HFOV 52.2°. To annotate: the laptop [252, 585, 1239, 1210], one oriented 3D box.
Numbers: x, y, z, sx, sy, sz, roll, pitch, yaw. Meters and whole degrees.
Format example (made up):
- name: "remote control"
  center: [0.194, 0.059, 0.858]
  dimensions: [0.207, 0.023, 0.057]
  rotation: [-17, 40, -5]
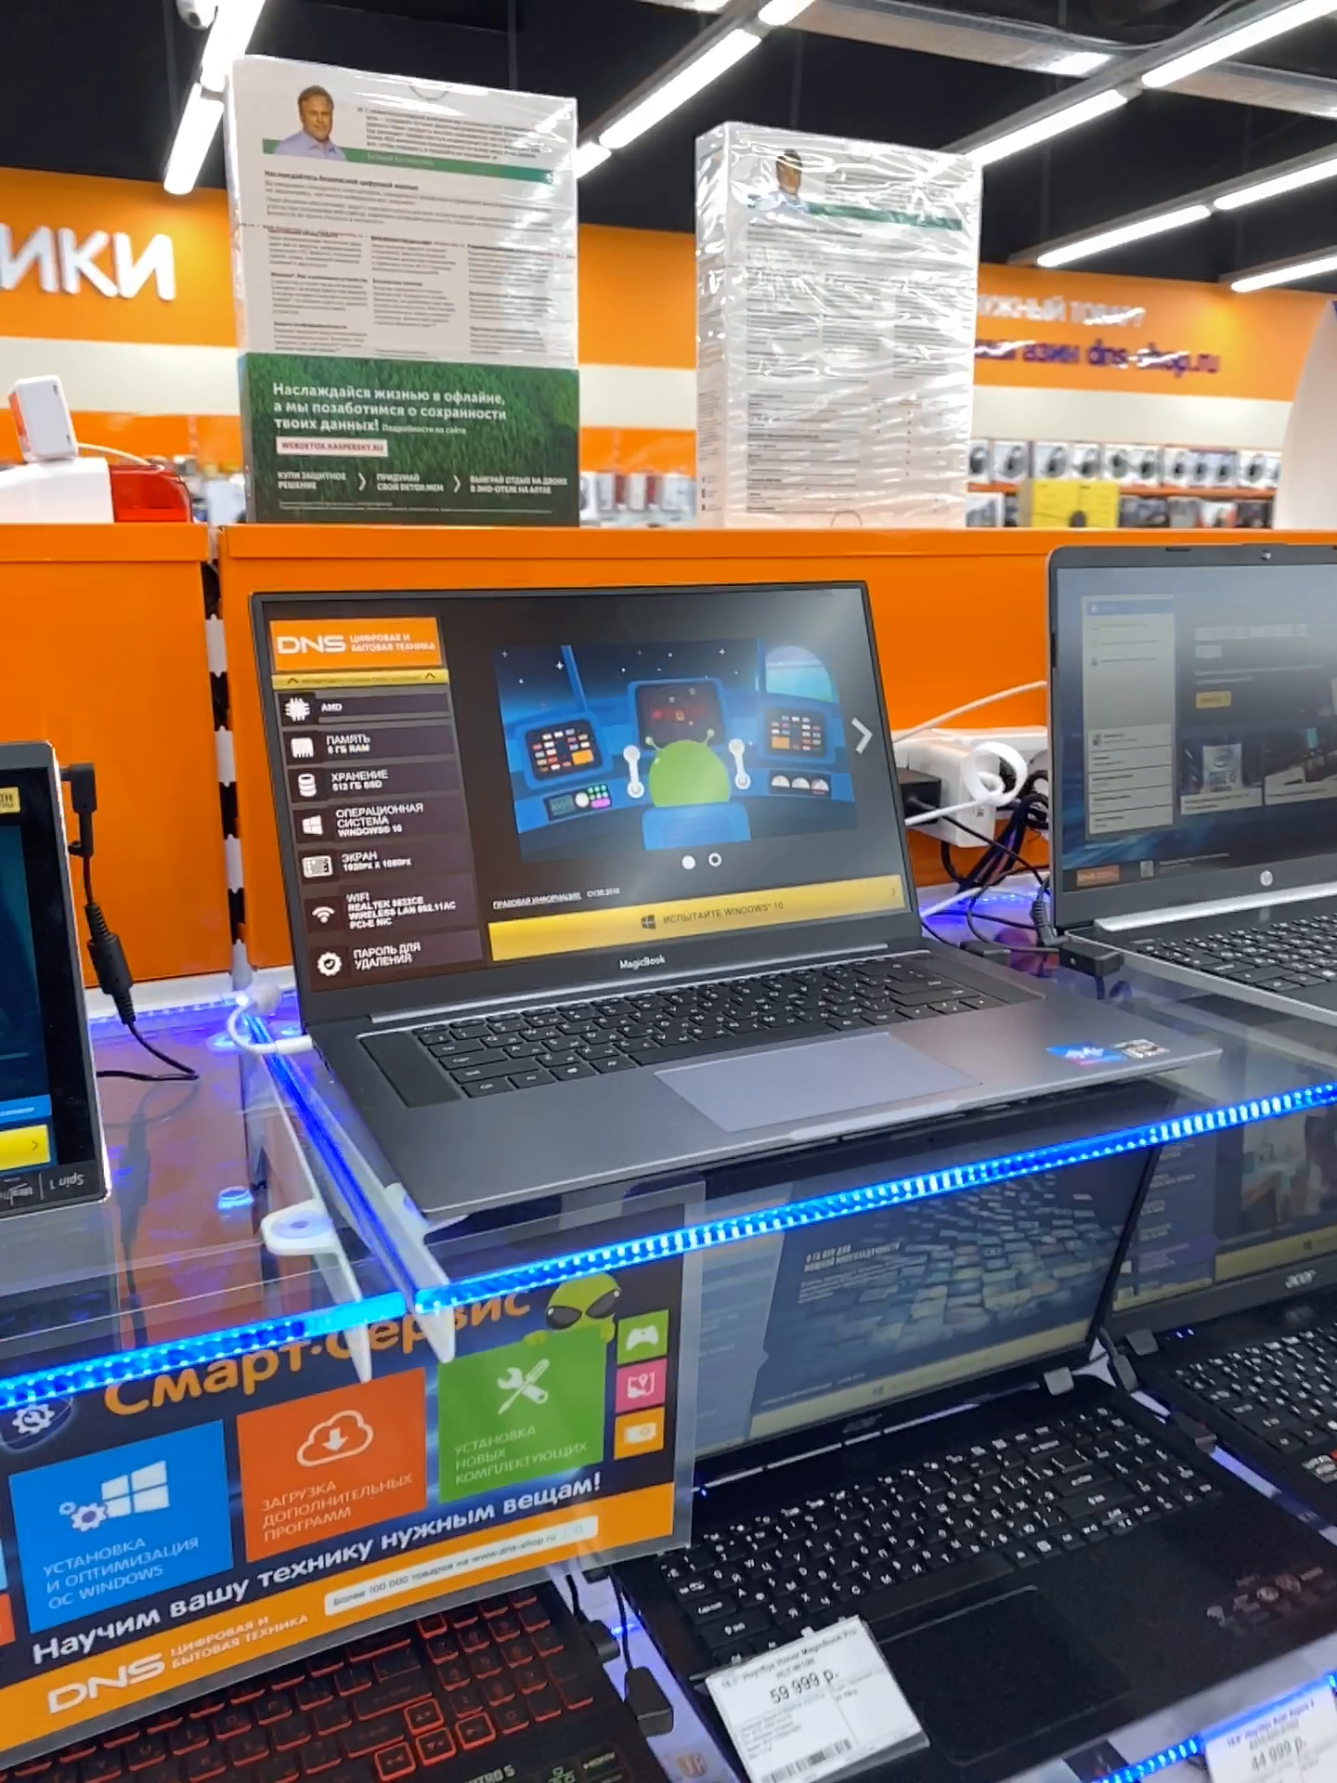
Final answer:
- name: "laptop"
  center: [0.013, -0.041, 0.669]
  dimensions: [0.368, 0.207, 0.315]
  rotation: [-6, 14, -23]
